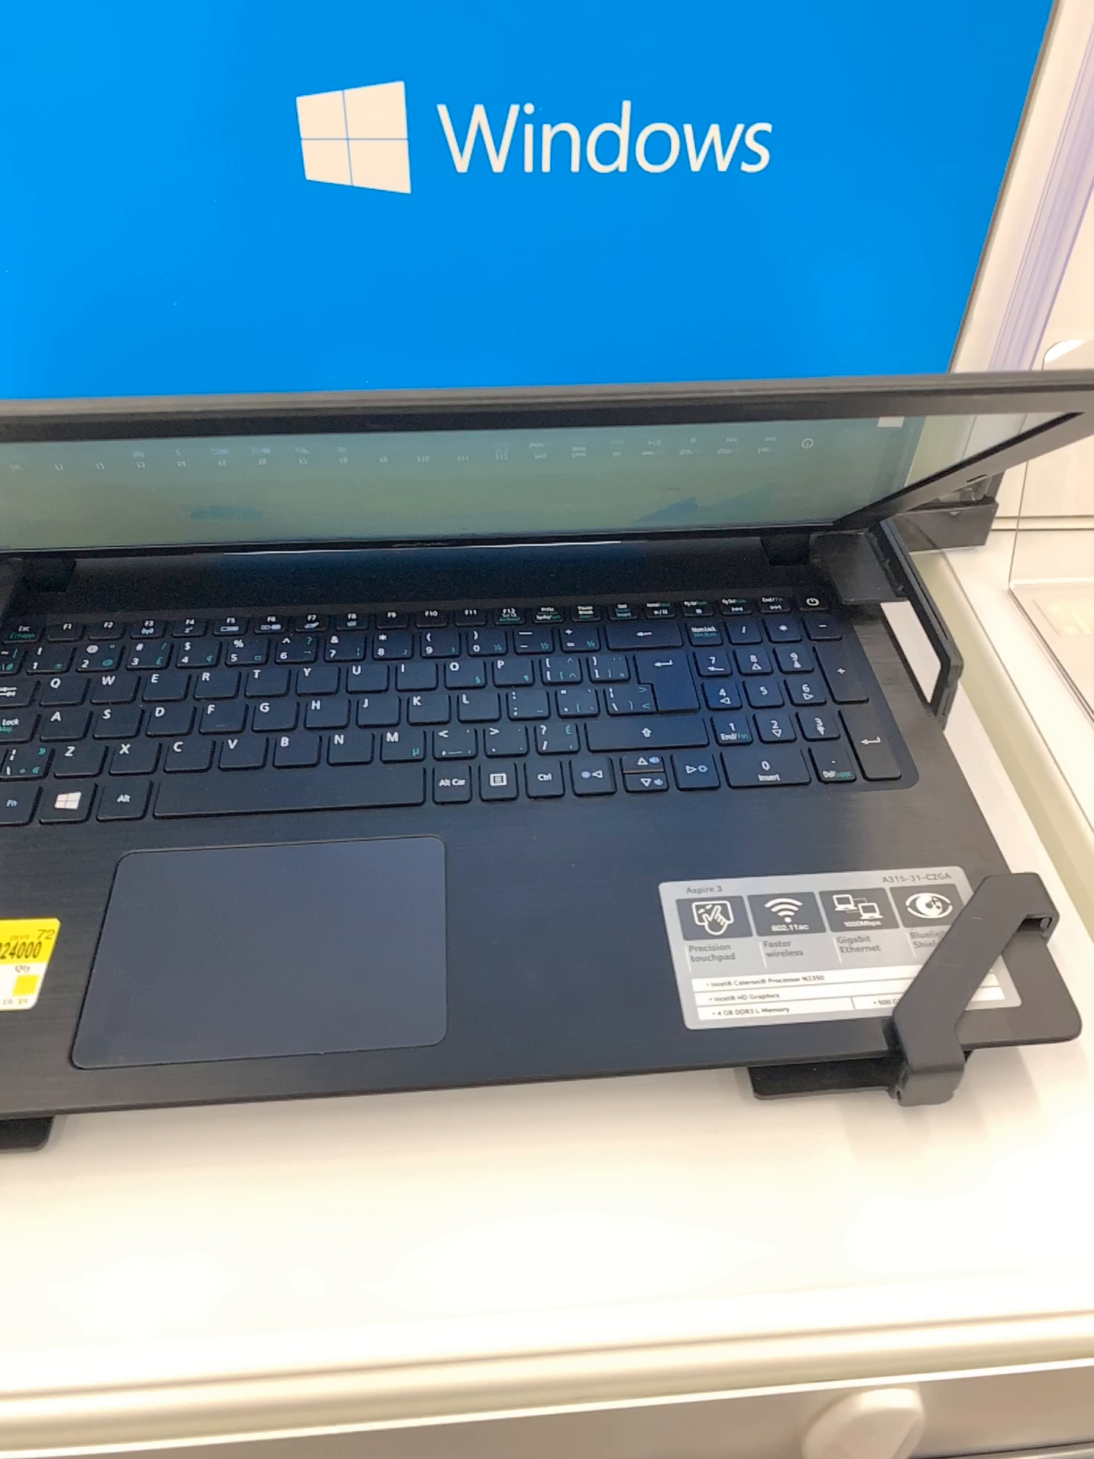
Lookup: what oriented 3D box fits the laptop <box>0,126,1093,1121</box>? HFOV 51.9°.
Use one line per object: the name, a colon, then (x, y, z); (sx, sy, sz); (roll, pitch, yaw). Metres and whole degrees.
laptop: (-0.037, -0.048, 0.315); (0.344, 0.157, 0.234); (-2, 44, -4)
